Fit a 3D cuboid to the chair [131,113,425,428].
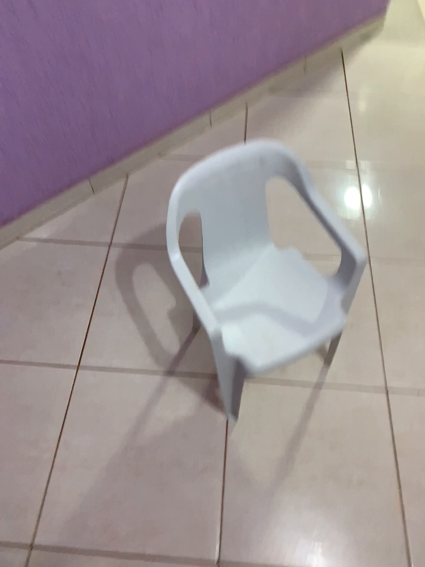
[{"bbox_3d":[0.110,0.012,1.042,0.401,0.596,0.362,-25,61,-14],"label":"chair"}]
